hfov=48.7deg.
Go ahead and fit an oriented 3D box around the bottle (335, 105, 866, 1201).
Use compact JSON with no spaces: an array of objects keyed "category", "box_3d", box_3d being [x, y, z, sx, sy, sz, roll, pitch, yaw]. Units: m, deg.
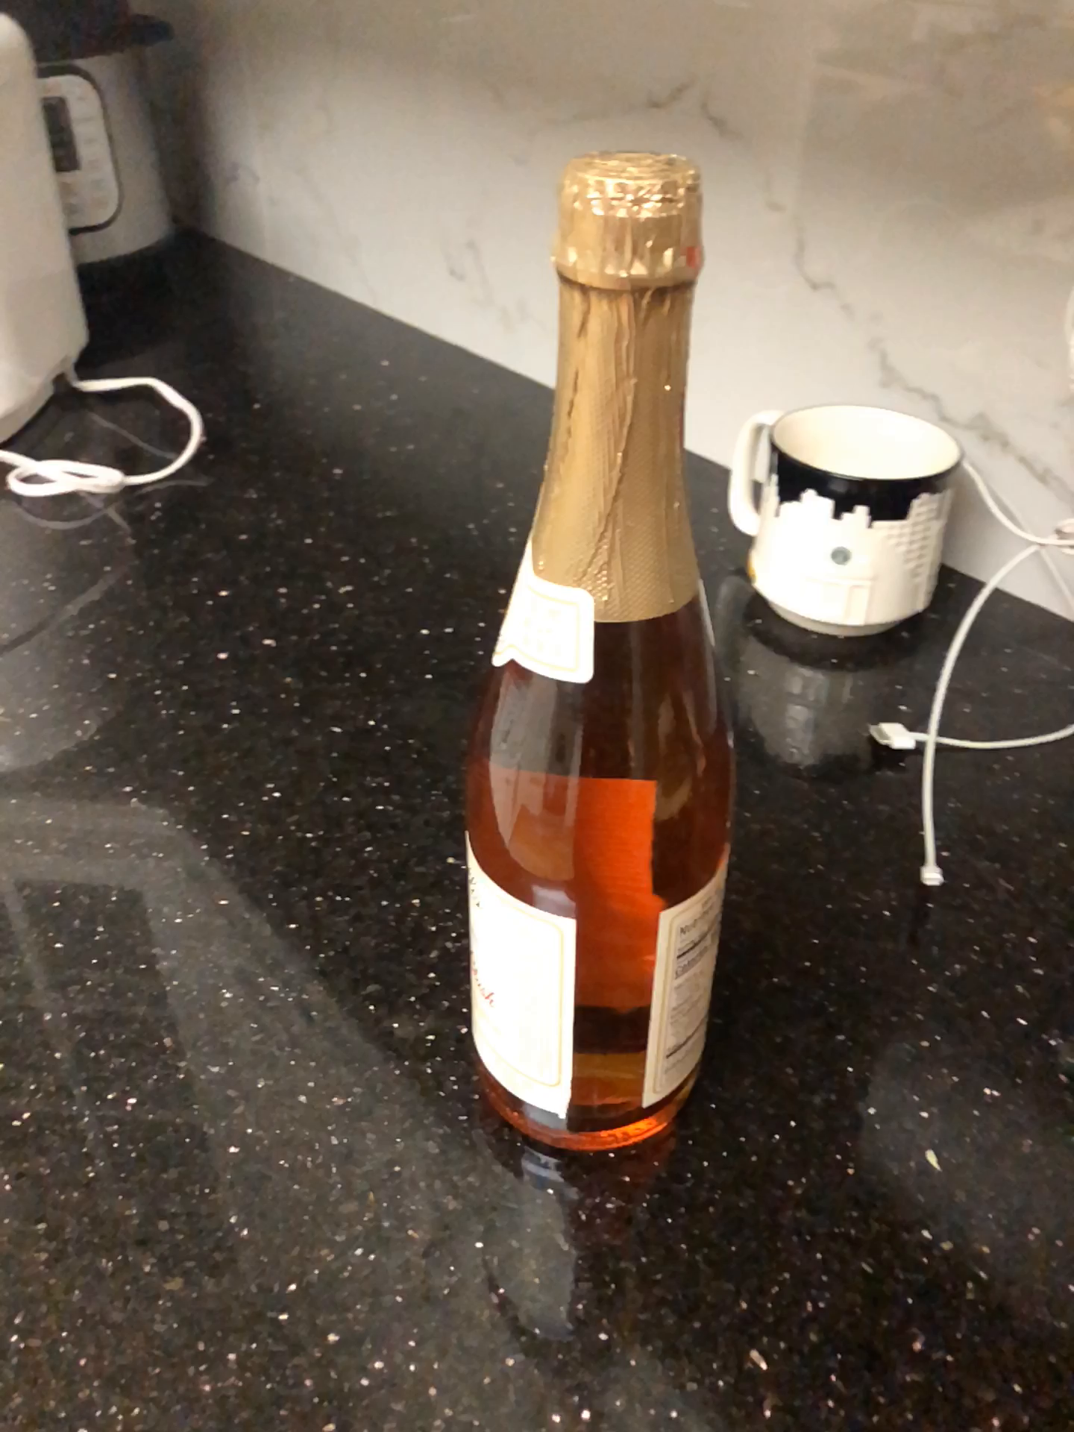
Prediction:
[{"category":"bottle","box_3d":[0.018,0.001,0.340,0.090,0.298,0.090,0,36,0]}]
